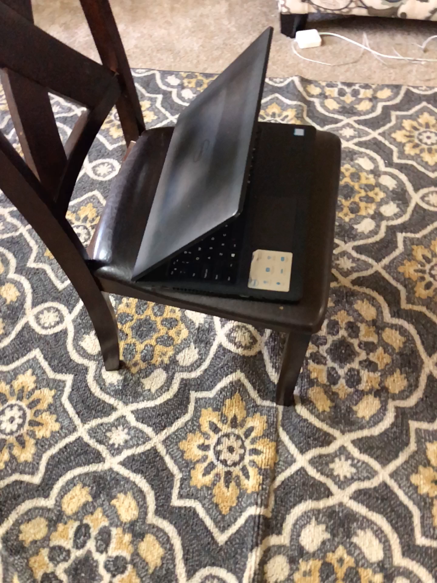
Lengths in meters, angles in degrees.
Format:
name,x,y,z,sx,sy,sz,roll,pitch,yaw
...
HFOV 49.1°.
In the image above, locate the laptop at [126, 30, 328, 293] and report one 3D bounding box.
name,x,y,z,sx,sy,sz,roll,pitch,yaw
laptop,0.032,-0.211,0.750,0.245,0.186,0.367,5,58,5
